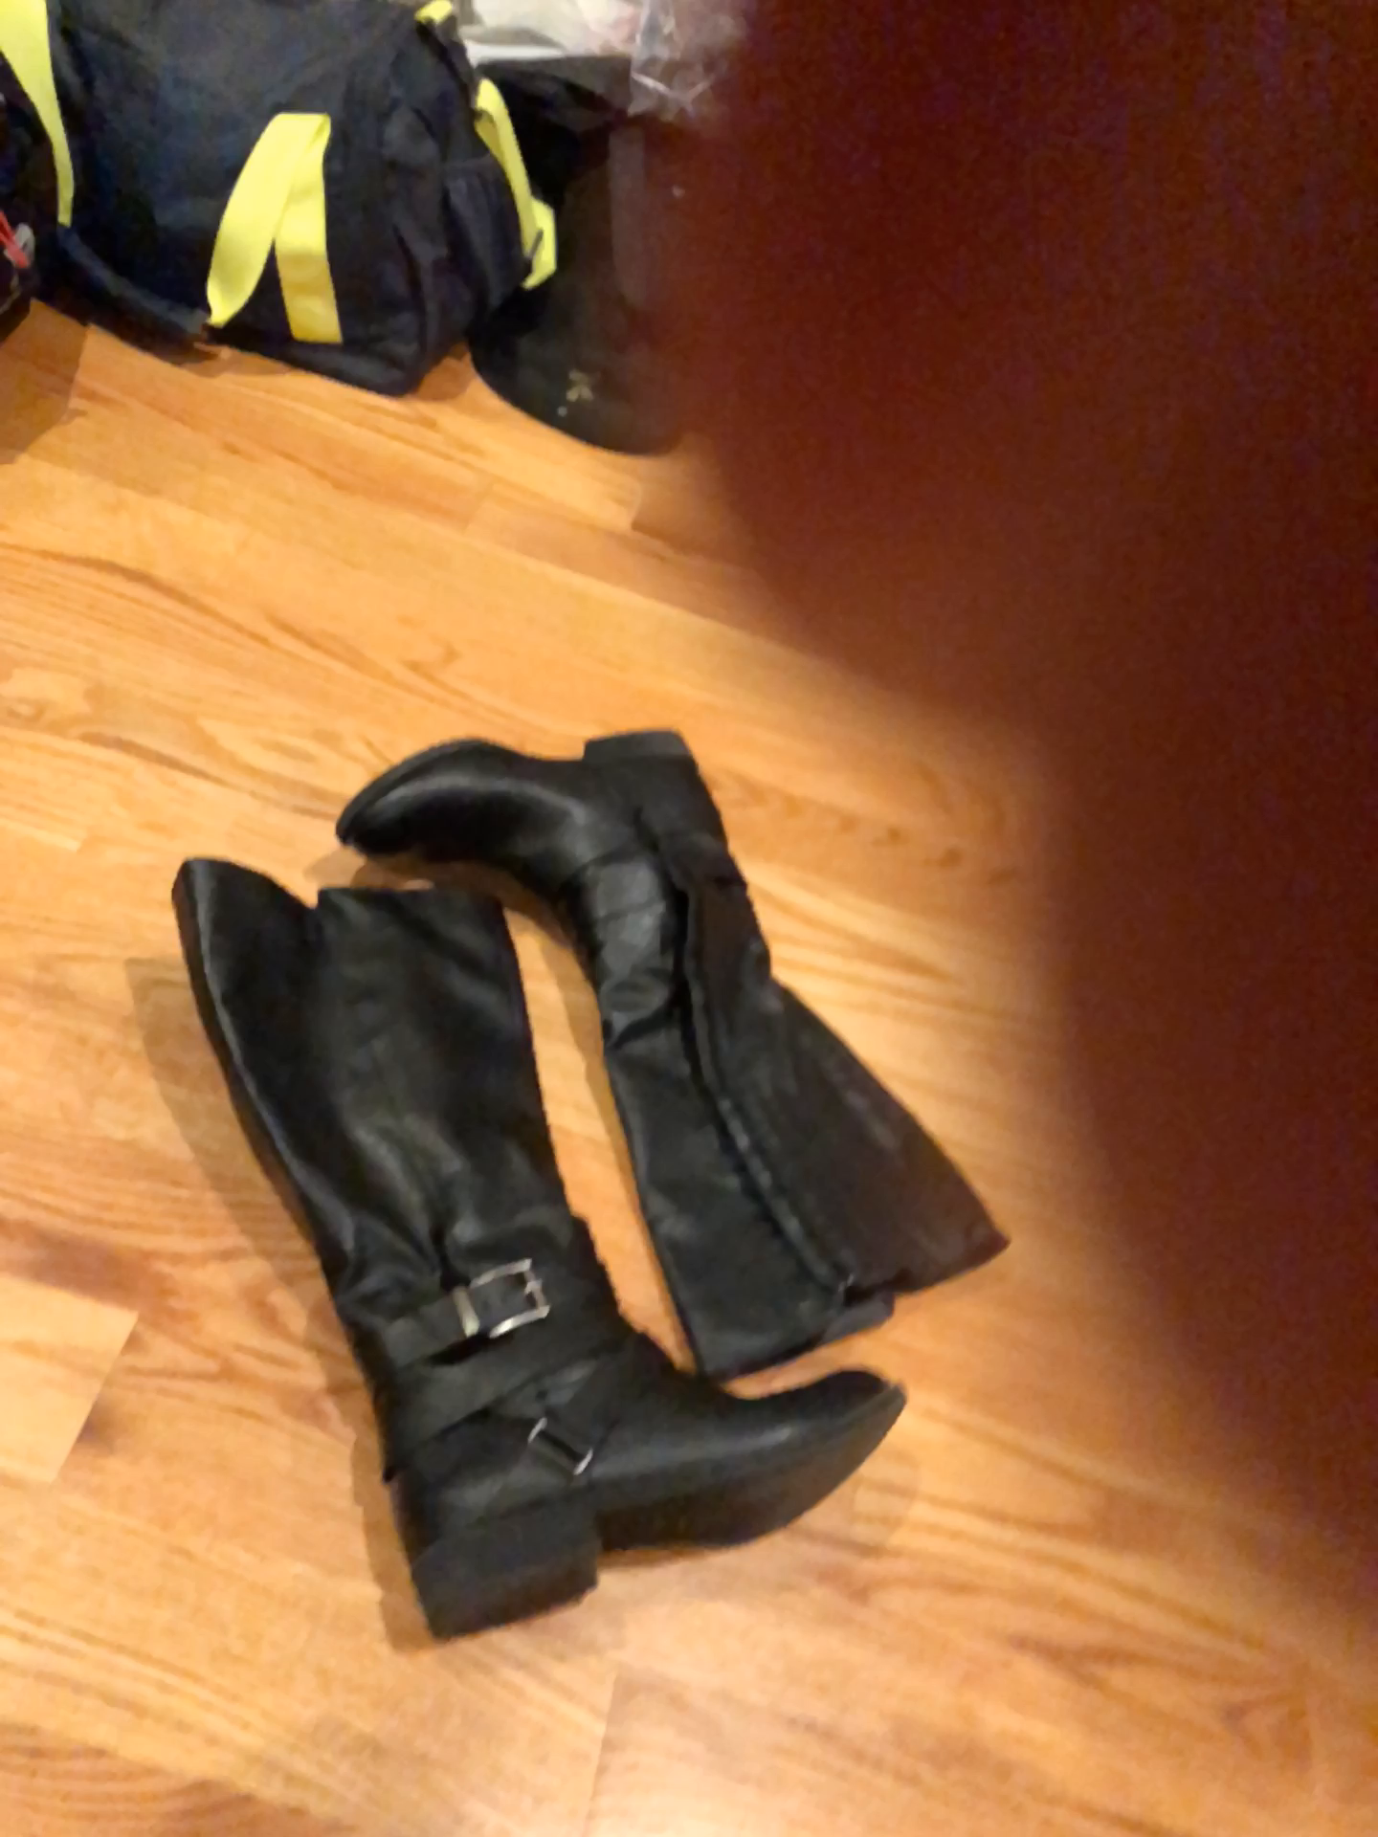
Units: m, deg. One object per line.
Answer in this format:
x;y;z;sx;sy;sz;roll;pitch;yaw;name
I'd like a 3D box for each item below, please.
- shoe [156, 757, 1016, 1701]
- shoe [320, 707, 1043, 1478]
-0.075;0.107;0.735;0.291;0.104;0.404;-6;52;-25;shoe
-0.027;0.058;0.800;0.251;0.094;0.394;-5;50;-24;shoe
